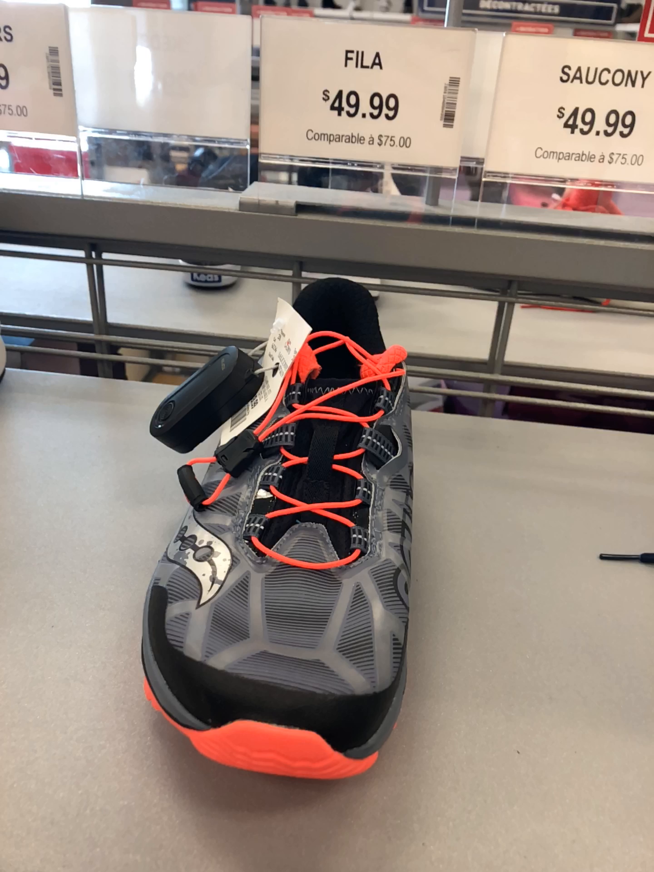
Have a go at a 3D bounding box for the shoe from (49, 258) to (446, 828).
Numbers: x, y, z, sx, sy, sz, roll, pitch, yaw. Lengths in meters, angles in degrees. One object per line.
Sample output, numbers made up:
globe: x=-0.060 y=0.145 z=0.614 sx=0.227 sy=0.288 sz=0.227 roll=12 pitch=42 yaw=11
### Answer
shoe: x=-0.013 y=0.011 z=0.352 sx=0.110 sy=0.109 sz=0.292 roll=5 pitch=29 yaw=3
